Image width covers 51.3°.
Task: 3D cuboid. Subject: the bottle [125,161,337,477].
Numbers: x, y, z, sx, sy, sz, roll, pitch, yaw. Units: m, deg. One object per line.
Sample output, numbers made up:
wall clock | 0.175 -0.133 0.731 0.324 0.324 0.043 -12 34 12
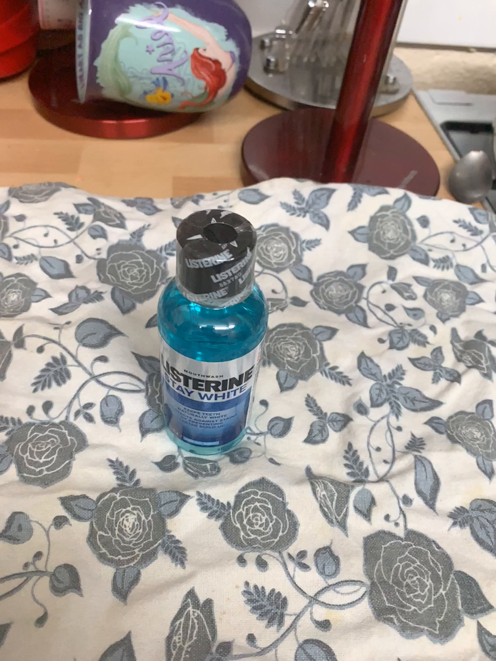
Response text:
bottle | -0.008 0.002 0.200 0.050 0.109 0.050 3 50 -4
